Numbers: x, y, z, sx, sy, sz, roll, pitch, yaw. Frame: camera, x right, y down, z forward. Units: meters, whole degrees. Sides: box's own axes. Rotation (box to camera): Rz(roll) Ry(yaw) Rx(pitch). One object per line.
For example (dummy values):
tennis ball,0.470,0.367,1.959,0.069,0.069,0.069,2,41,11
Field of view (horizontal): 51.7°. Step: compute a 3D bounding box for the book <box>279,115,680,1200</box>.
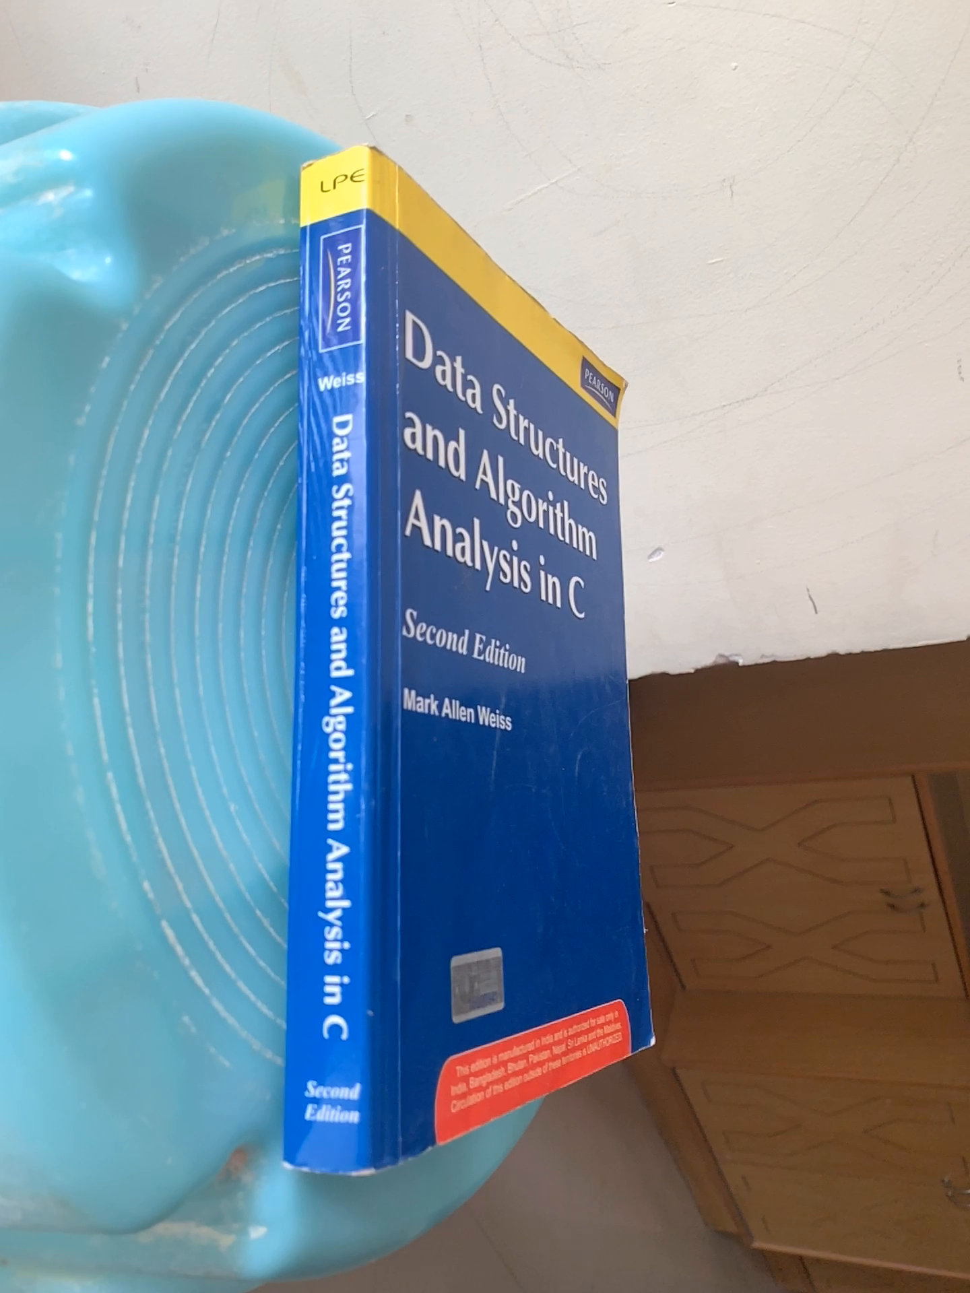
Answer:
book,0.009,0.004,0.293,0.161,0.030,0.240,17,68,-58
